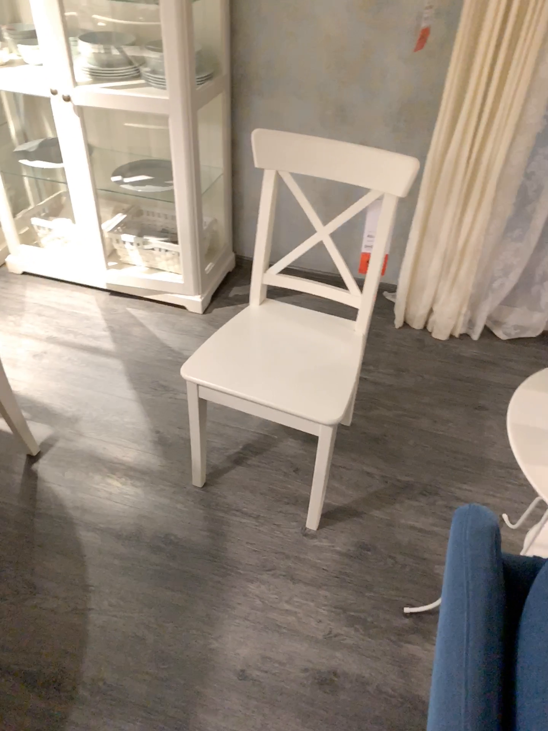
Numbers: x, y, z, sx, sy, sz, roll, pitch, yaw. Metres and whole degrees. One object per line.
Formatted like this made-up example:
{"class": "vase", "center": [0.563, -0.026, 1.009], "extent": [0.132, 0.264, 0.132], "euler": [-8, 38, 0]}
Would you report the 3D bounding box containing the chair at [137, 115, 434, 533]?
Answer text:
{"class": "chair", "center": [0.044, -0.097, 1.395], "extent": [0.450, 0.807, 0.542], "euler": [16, 43, 14]}
